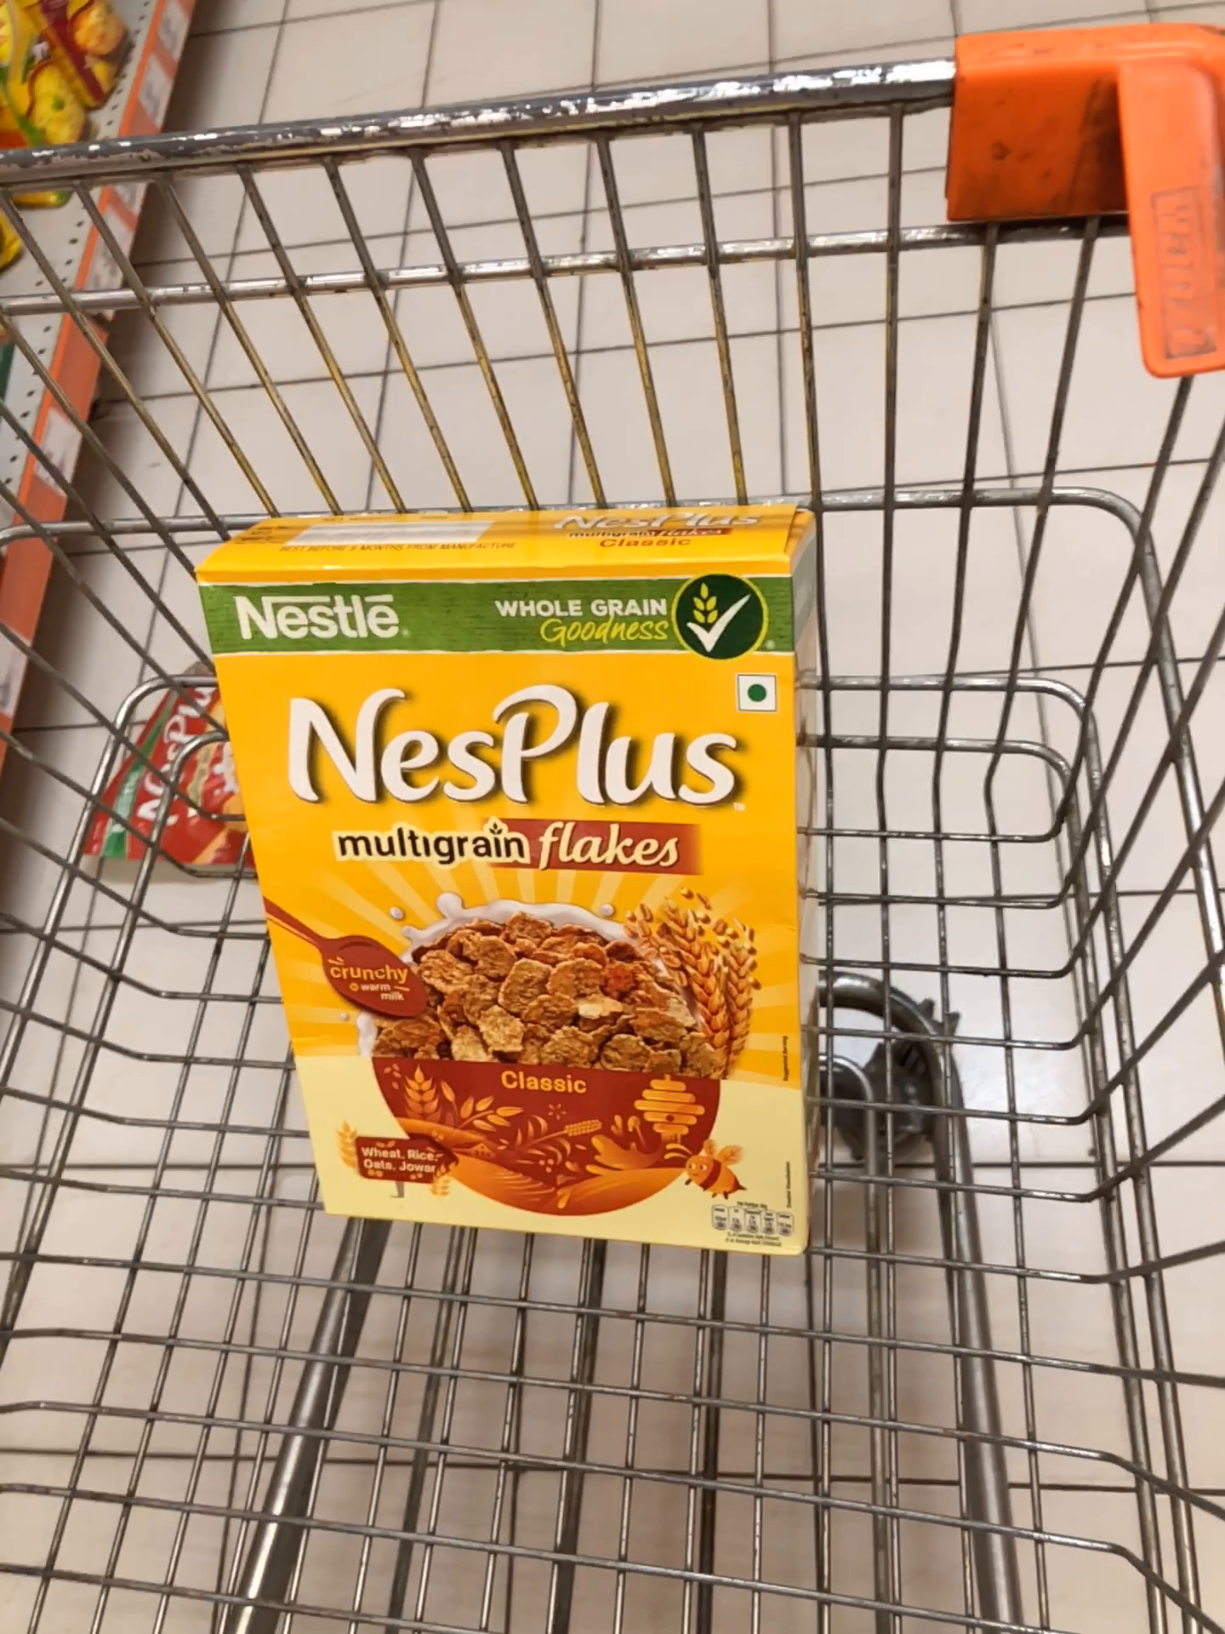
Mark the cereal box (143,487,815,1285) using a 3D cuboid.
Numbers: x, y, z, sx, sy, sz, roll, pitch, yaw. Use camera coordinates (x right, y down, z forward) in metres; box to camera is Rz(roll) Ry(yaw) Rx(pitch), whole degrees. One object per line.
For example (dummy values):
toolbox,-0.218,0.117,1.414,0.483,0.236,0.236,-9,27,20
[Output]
cereal box,-0.029,0.023,0.468,0.190,0.249,0.090,1,24,12
